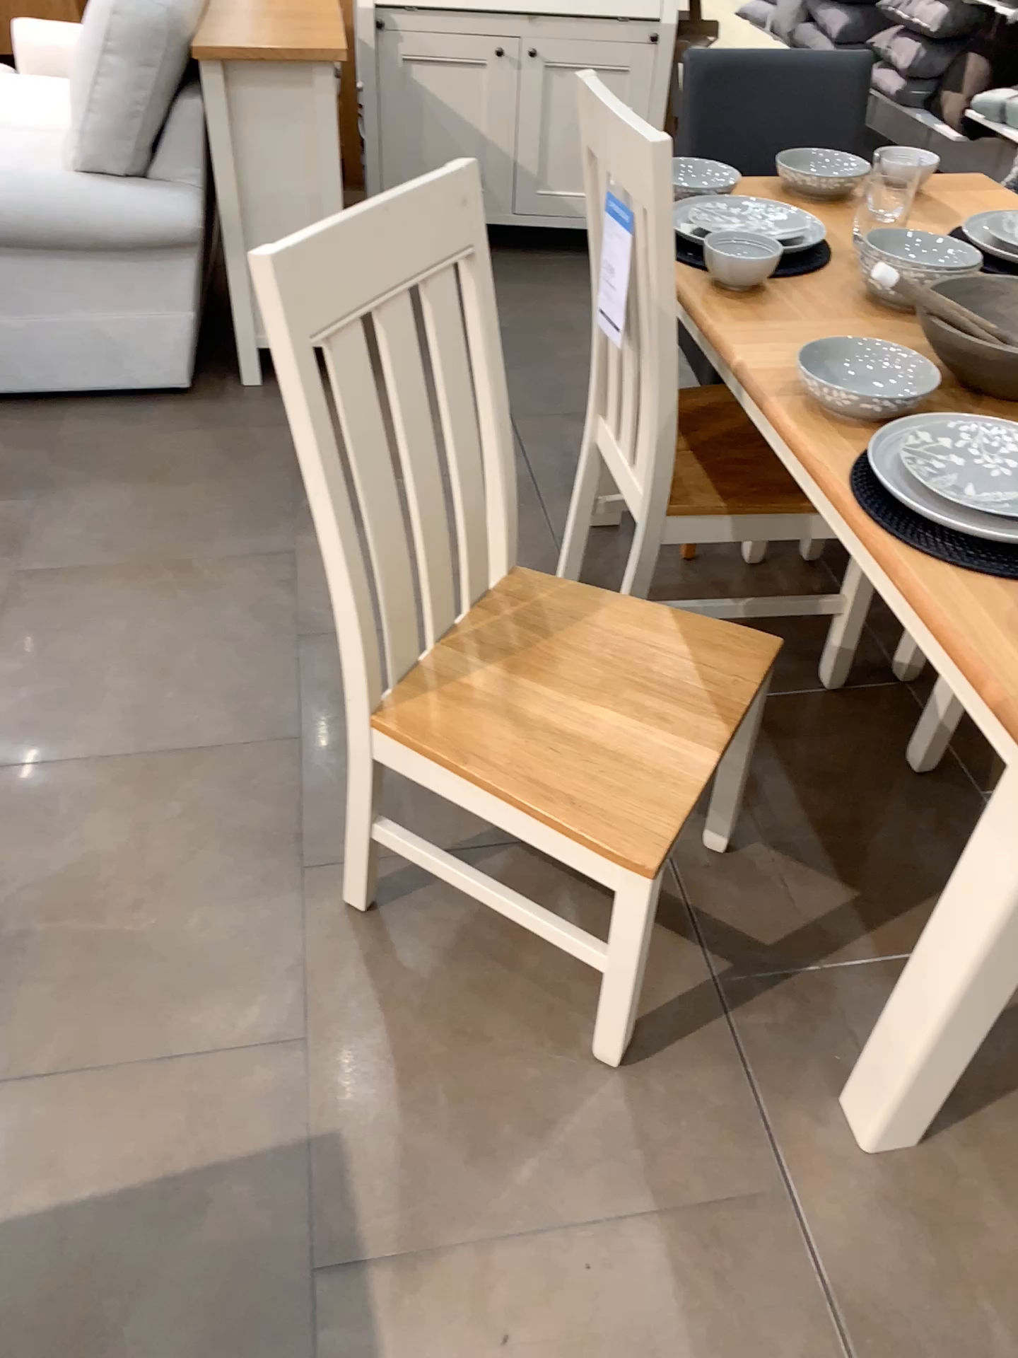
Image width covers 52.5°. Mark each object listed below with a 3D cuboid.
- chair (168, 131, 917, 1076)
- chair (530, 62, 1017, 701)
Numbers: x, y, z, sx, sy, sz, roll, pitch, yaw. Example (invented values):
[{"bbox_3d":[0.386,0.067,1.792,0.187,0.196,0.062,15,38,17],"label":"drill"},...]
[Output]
[{"bbox_3d":[0.041,-0.077,1.284,0.547,0.924,0.505,21,44,20],"label":"chair"},{"bbox_3d":[0.359,-0.480,1.780,0.536,0.924,0.476,-3,41,-7],"label":"chair"}]
